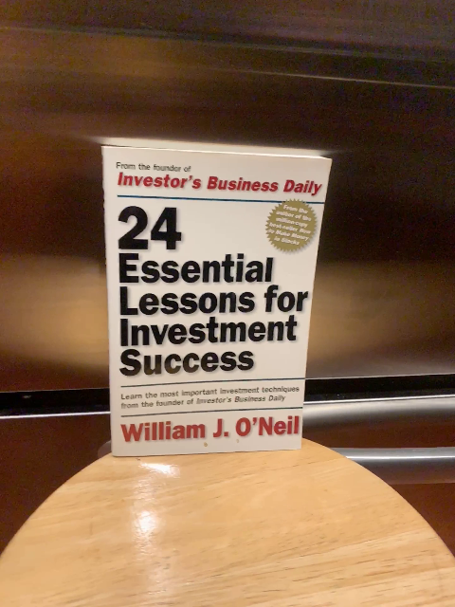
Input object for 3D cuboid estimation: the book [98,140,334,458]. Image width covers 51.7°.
[{"bbox_3d":[-0.011,0.004,0.346,0.150,0.229,0.030,0,18,-7],"label":"book"}]
